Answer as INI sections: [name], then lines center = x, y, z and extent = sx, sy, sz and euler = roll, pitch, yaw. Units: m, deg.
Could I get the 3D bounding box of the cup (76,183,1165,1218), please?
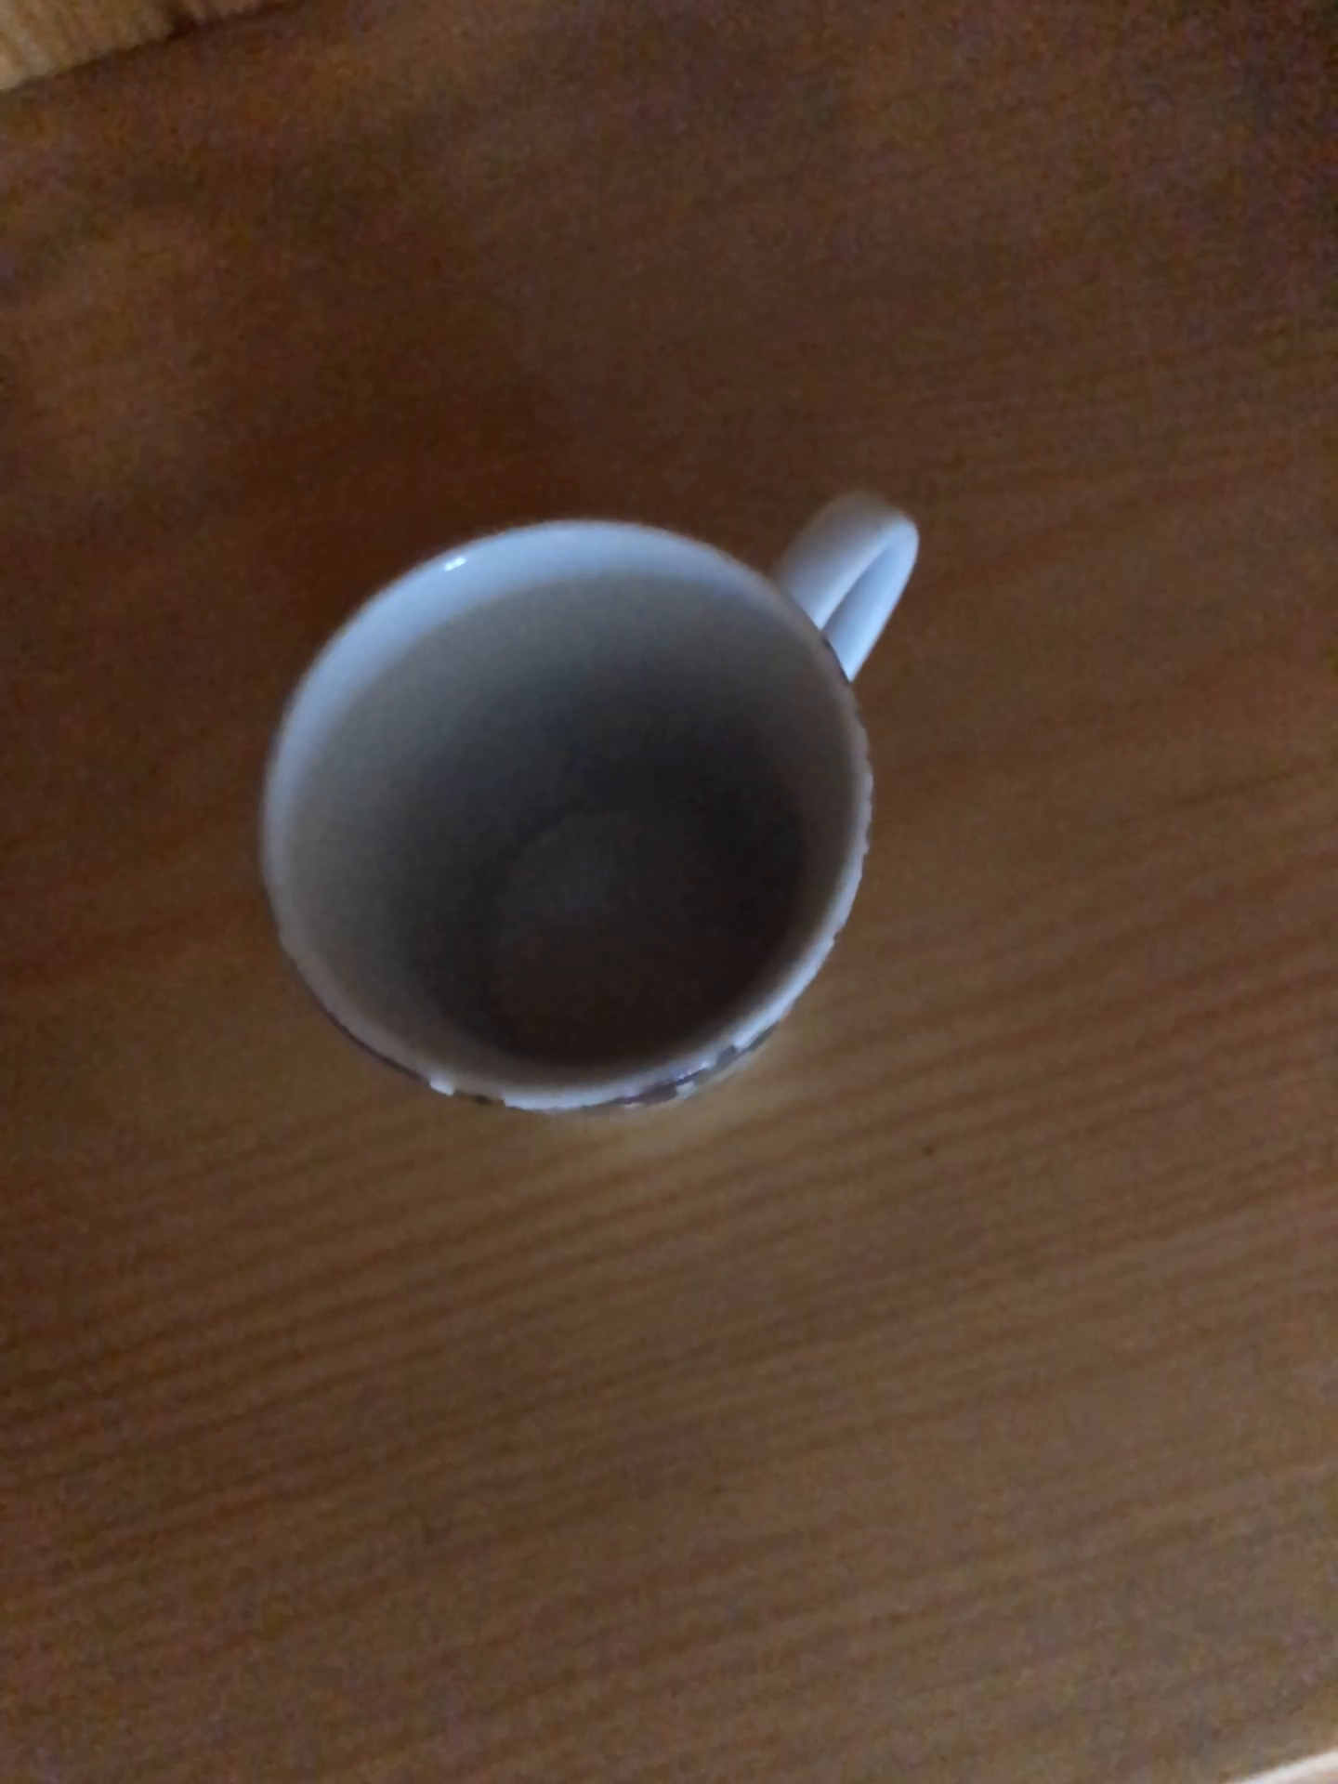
[cup]
center = -0.003, -0.015, 0.171
extent = 0.080, 0.070, 0.060
euler = -35, 73, -6
